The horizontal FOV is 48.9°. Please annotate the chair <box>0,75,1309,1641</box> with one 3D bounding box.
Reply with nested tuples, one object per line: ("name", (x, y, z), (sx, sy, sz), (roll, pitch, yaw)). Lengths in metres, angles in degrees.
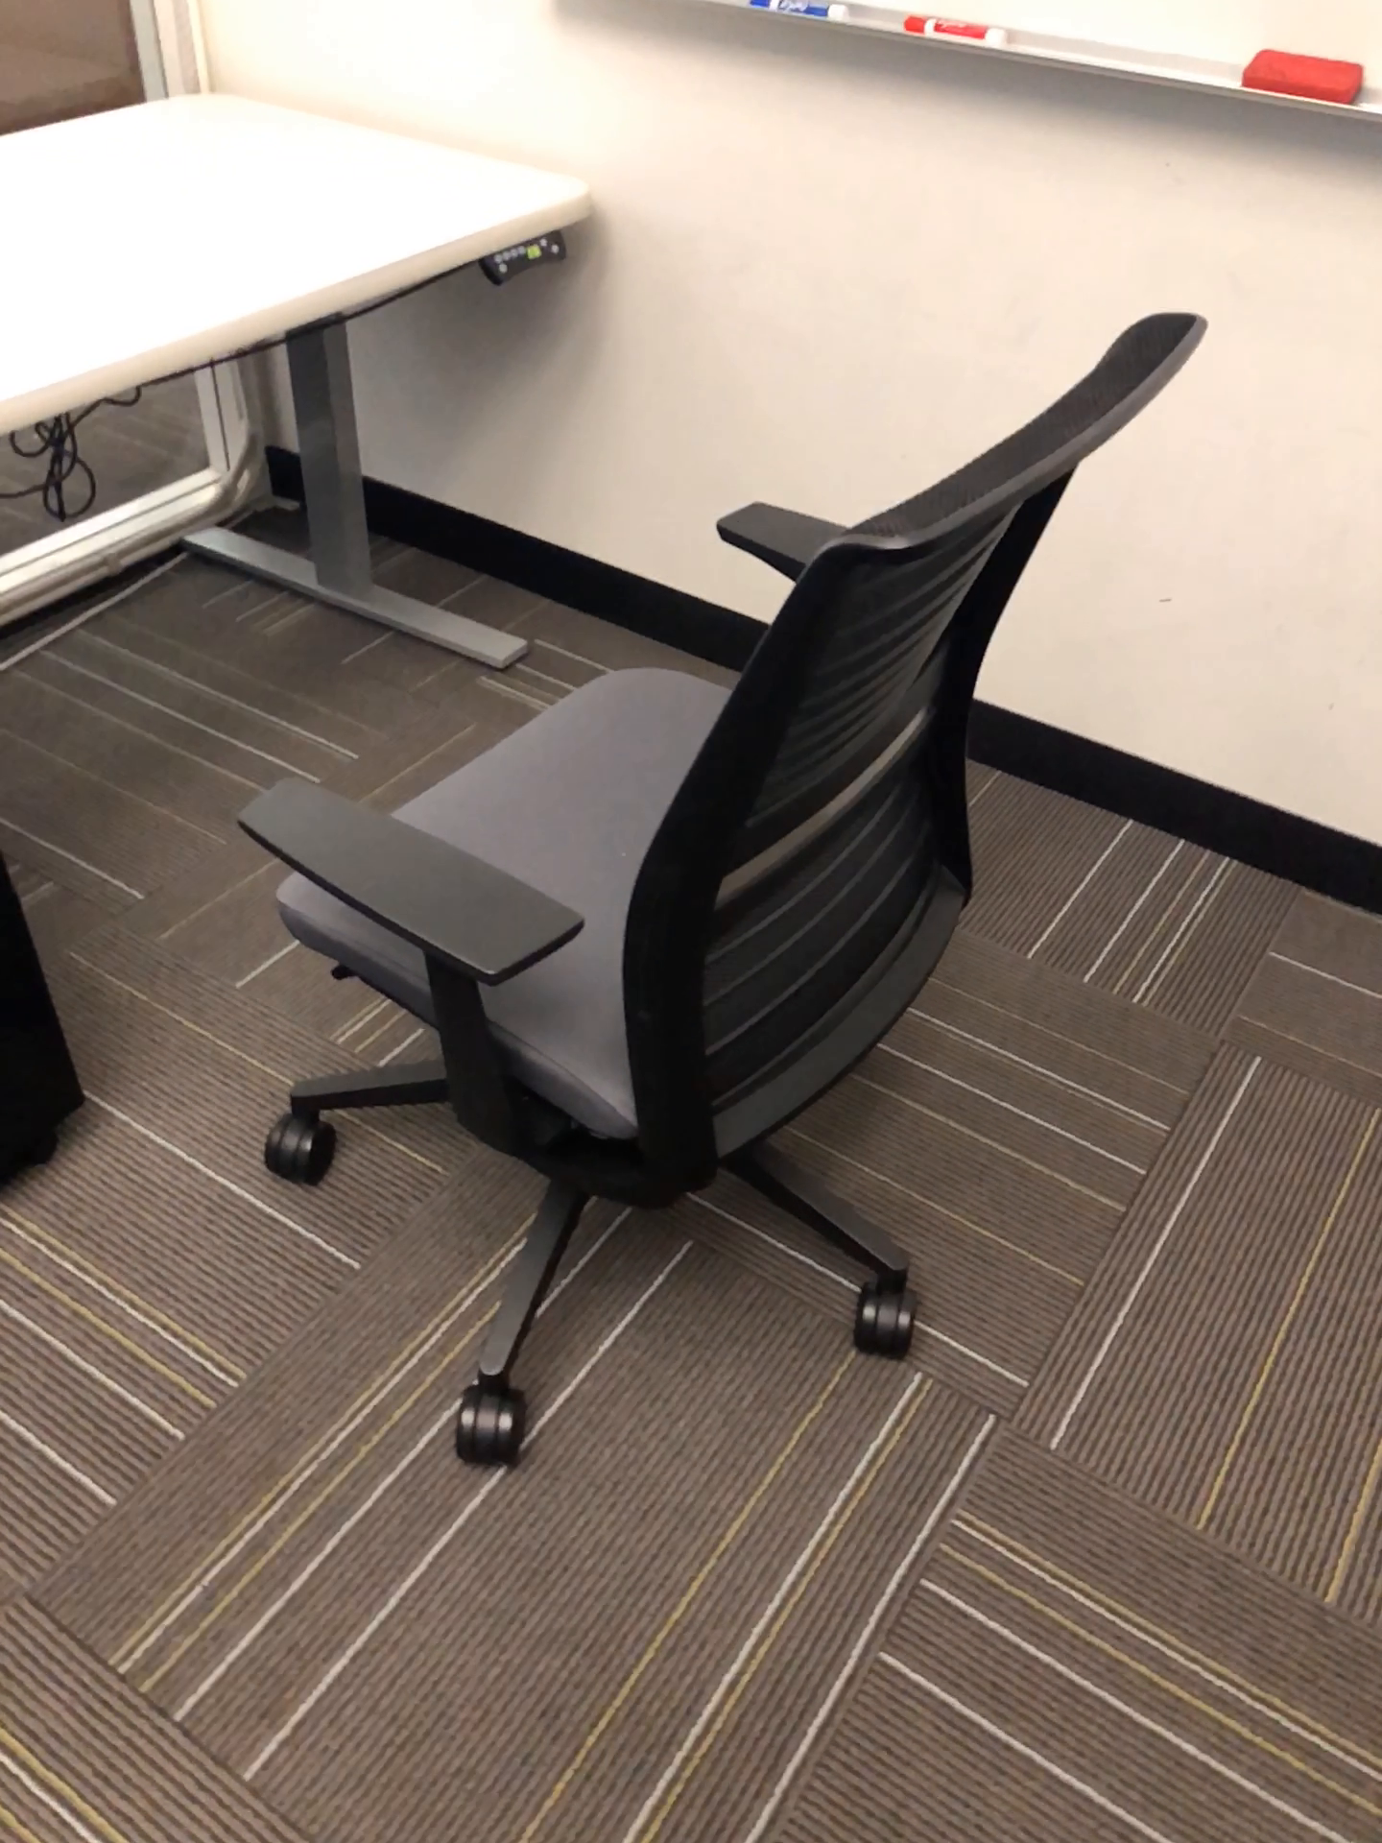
("chair", (-0.049, -0.097, 1.282), (0.681, 0.905, 0.722), (23, 44, 23))
